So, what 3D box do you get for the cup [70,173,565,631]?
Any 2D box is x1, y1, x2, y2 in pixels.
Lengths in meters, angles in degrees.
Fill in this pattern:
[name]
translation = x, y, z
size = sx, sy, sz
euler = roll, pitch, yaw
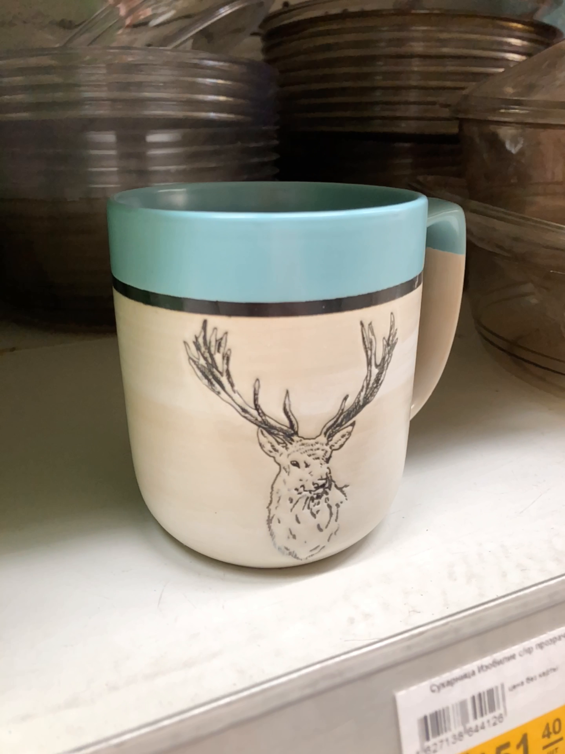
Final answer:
[cup]
translation = 0.010, -0.010, 0.211
size = 0.123, 0.102, 0.093
euler = -13, 24, -30
